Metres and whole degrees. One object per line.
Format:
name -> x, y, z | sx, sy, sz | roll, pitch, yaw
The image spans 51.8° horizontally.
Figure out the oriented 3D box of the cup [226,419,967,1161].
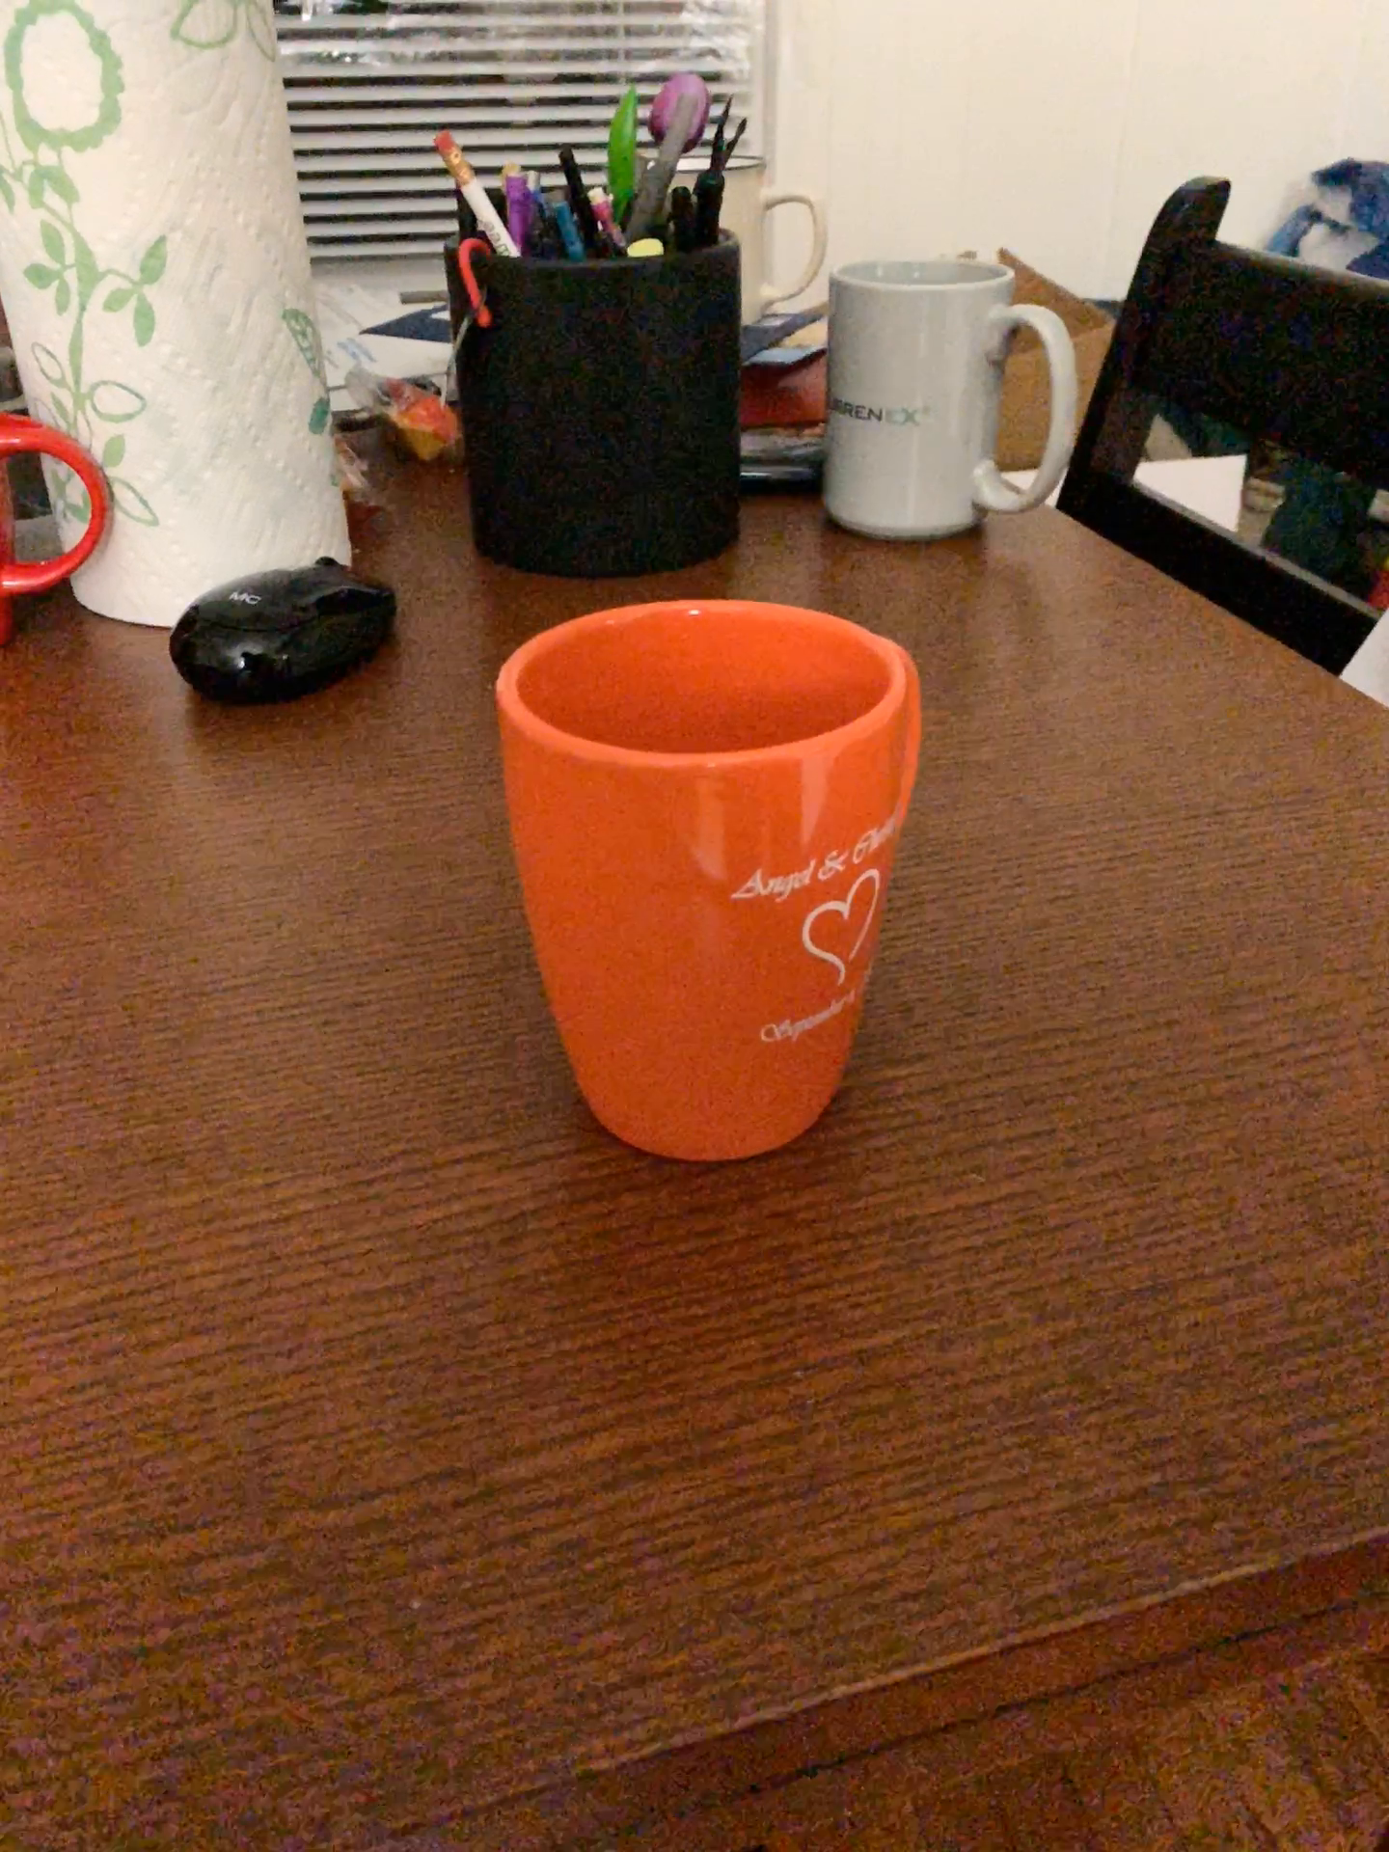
cup -> -0.014, -0.042, 0.334 | 0.100, 0.109, 0.130 | 19, 37, 28
